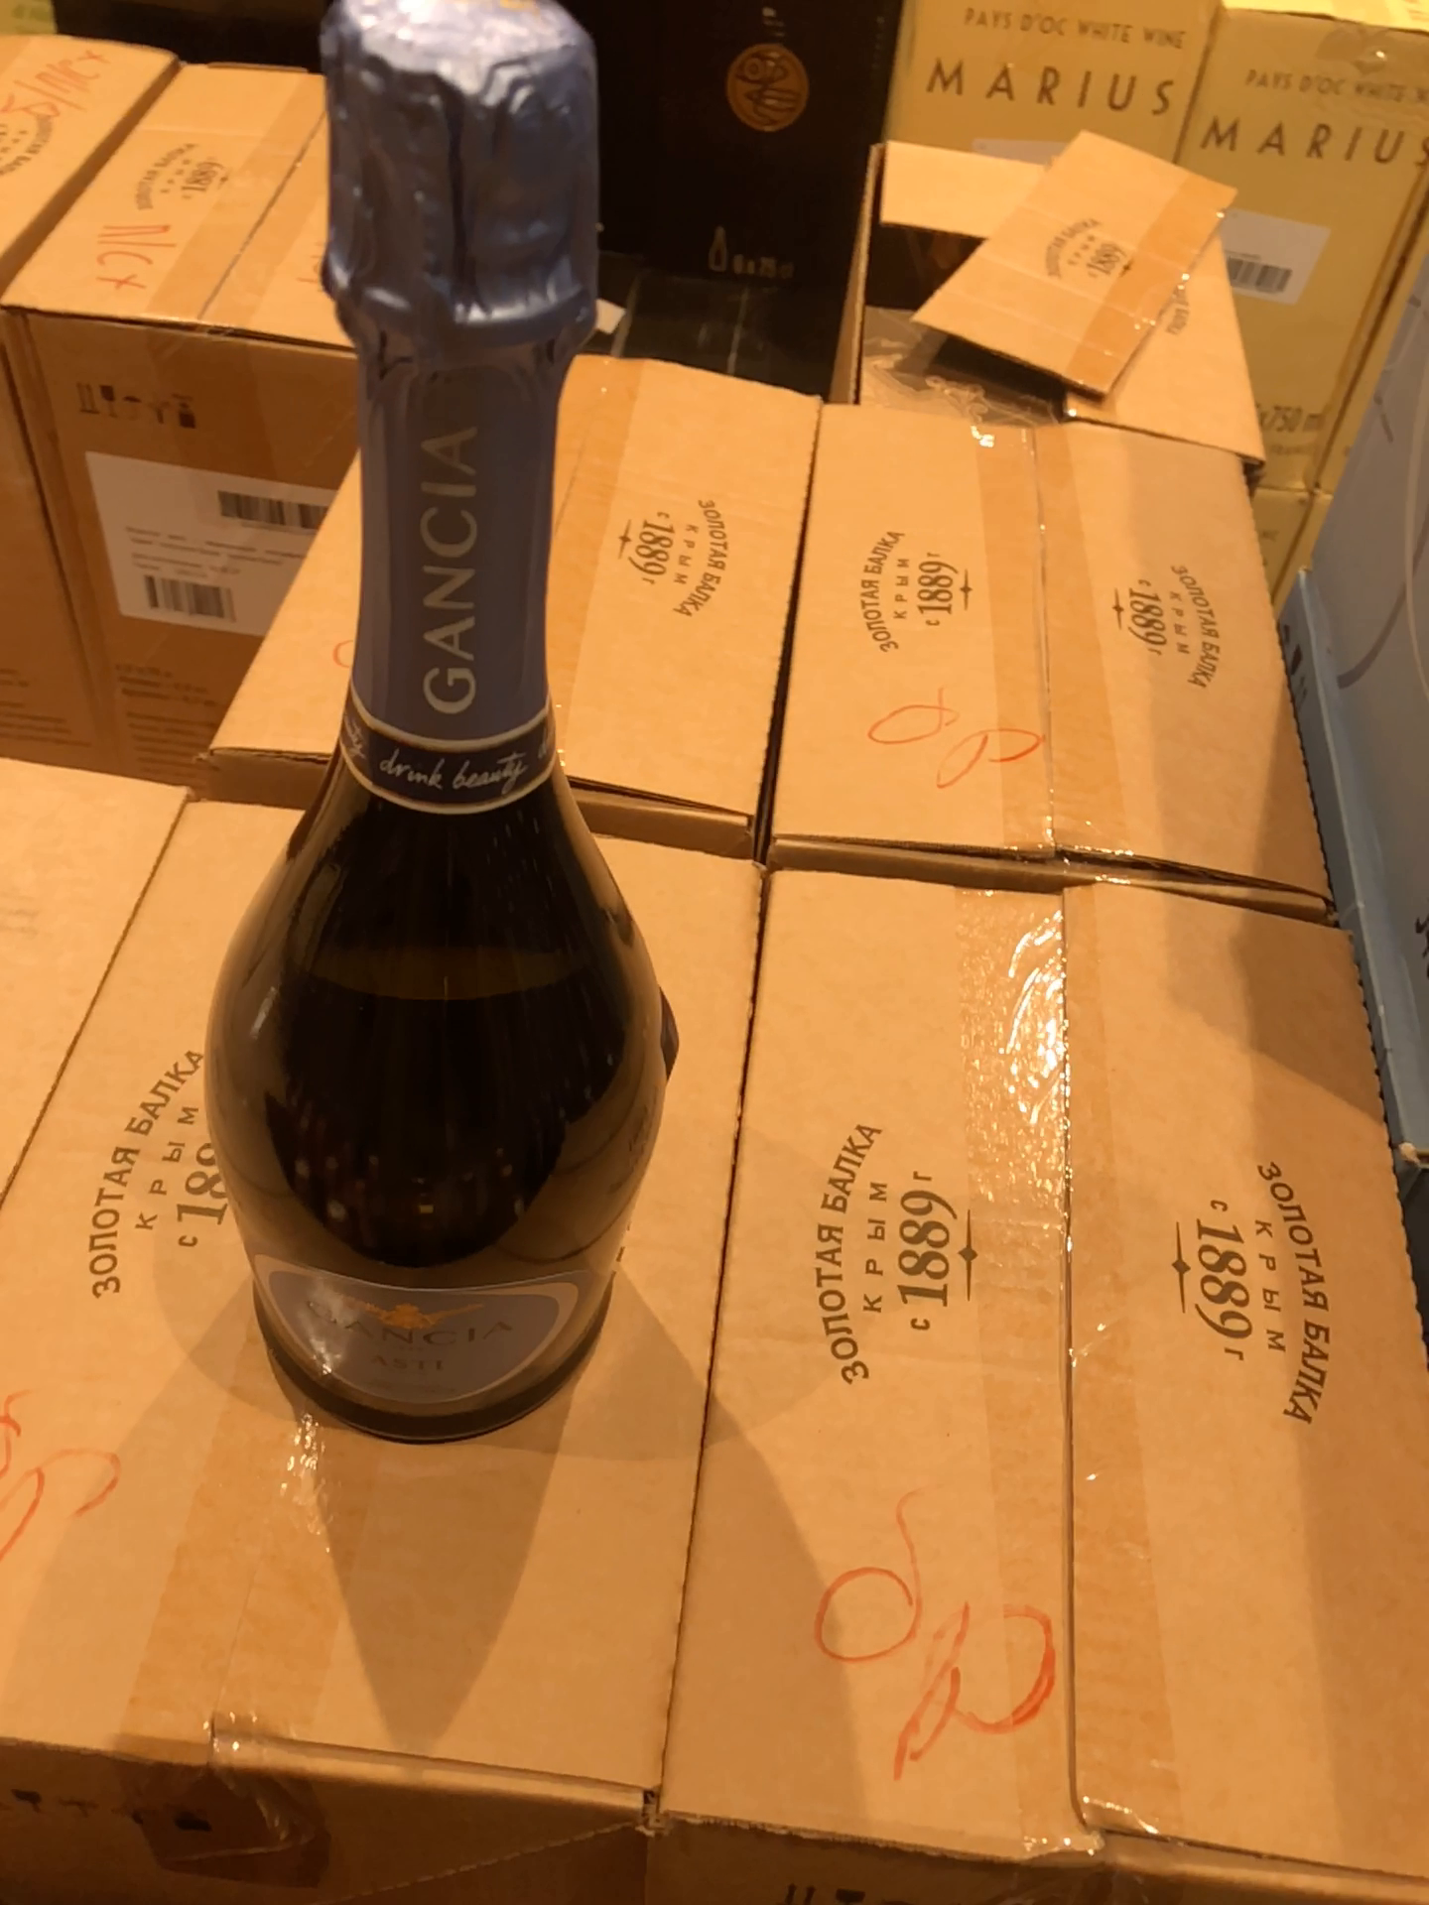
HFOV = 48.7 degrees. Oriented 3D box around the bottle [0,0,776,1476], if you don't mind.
[{"bbox_3d":[-0.057,-0.011,0.295,0.101,0.298,0.091,5,48,-2],"label":"bottle"}]
